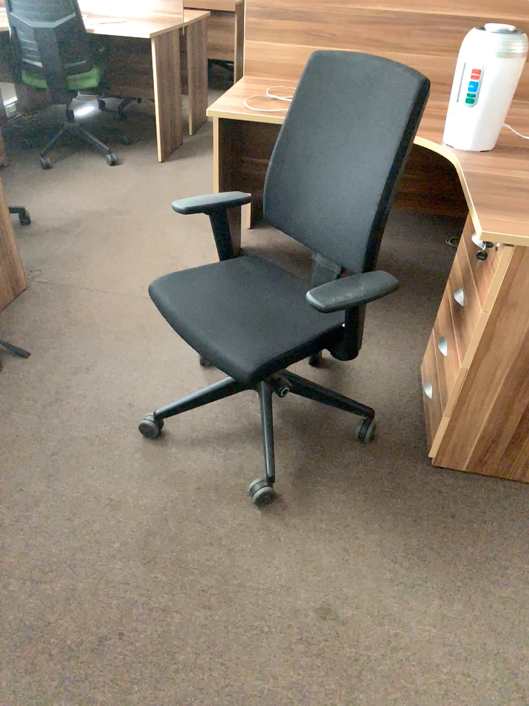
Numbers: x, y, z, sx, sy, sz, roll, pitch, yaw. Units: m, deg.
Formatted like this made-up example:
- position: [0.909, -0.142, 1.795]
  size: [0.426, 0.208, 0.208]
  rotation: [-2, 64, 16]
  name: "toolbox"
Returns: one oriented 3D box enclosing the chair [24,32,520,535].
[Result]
- position: [-0.007, -0.240, 1.400]
  size: [0.792, 0.915, 0.672]
  rotation: [-24, 45, -31]
  name: "chair"
